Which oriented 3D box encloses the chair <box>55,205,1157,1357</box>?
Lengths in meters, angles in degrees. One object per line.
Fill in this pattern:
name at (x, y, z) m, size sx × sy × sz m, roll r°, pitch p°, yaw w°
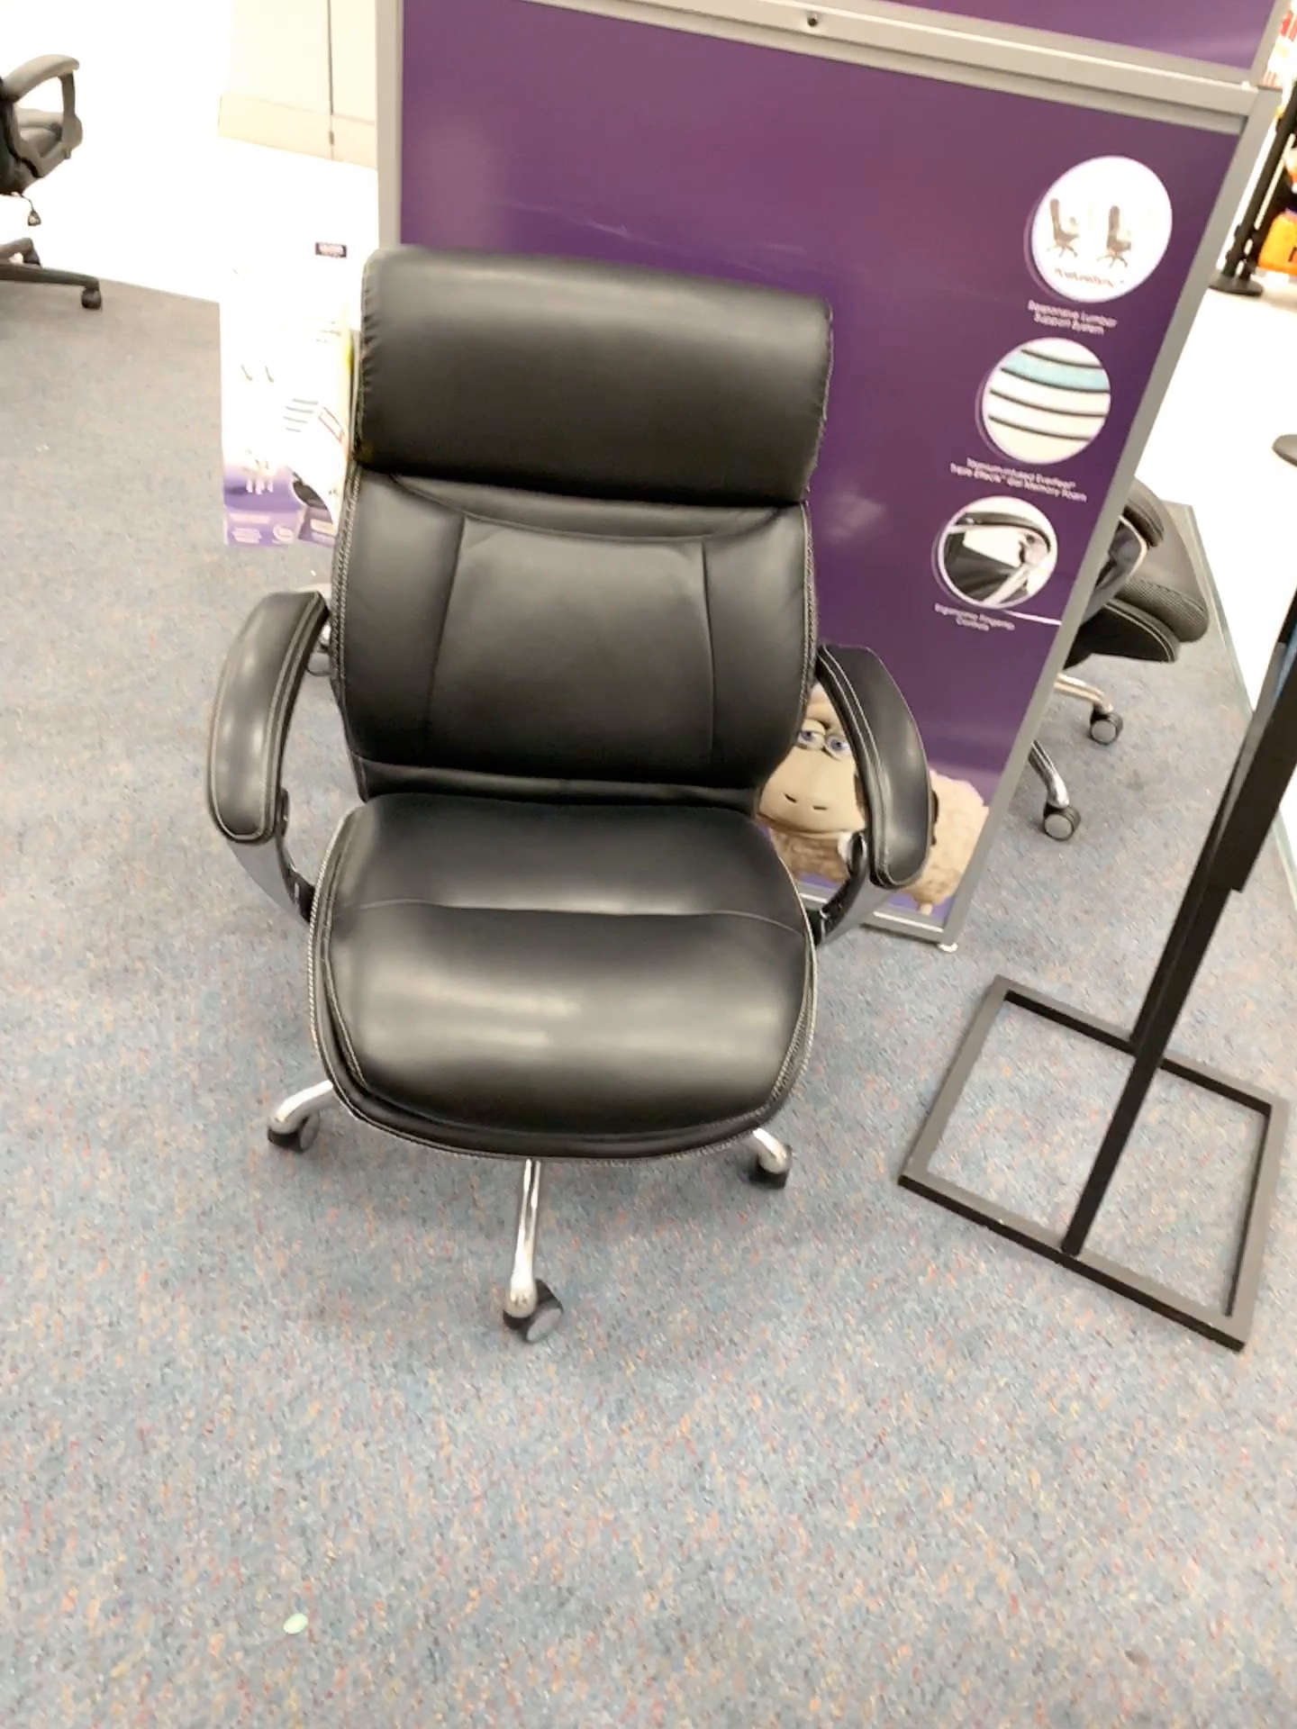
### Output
chair at (-0.086, -0.075, 1.478) m, size 0.738 × 0.946 × 0.785 m, roll 5°, pitch 40°, yaw -6°
